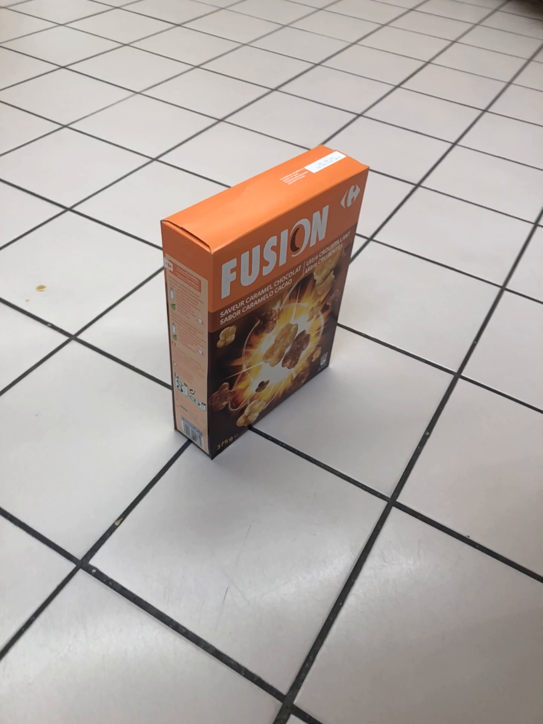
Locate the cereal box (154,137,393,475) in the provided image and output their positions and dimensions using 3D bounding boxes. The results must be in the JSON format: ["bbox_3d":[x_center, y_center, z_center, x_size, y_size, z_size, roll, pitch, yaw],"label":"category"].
[{"bbox_3d":[-0.001,-0.047,0.552,0.070,0.248,0.201,35,52,25],"label":"cereal box"}]
